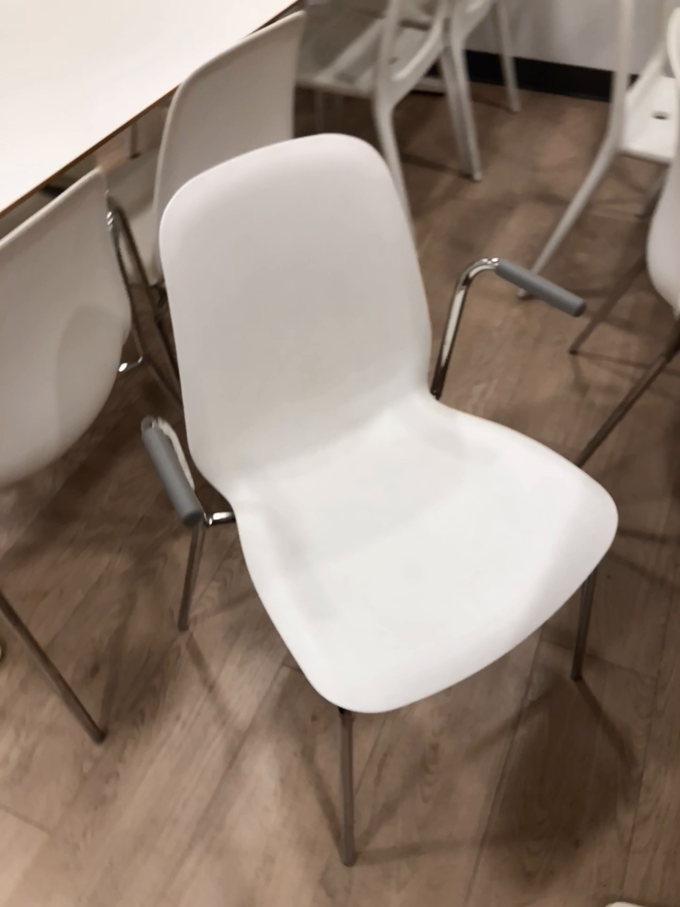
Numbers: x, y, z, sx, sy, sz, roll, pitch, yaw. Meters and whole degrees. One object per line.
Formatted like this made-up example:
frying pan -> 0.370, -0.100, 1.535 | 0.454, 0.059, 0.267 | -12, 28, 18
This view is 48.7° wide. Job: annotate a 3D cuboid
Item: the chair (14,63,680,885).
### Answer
chair -> 0.070, 0.058, 1.008 | 0.571, 0.805, 0.533 | -28, 54, -21
